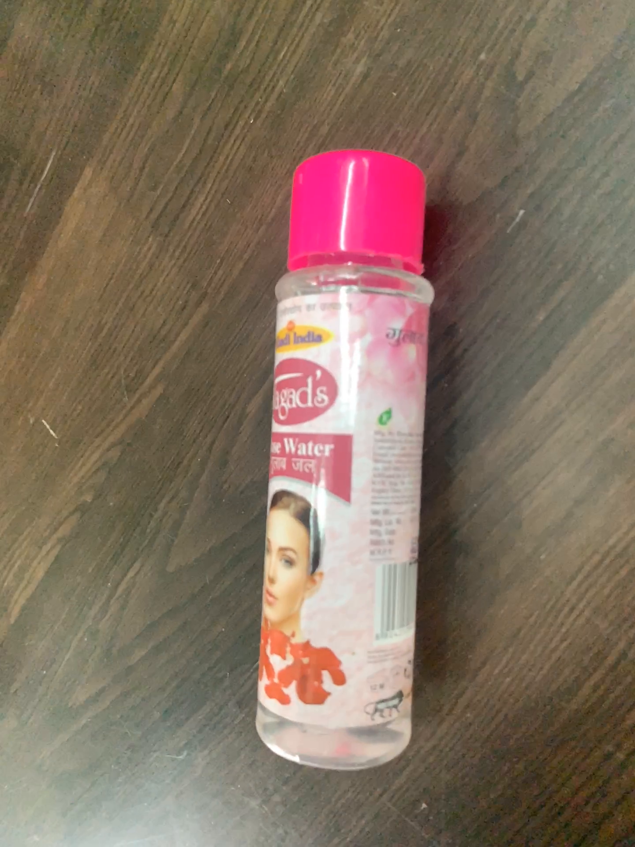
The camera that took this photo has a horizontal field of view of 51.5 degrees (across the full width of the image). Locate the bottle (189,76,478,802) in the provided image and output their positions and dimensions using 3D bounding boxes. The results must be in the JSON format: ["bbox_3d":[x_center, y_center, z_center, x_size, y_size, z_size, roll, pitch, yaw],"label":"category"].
[{"bbox_3d":[0.003,0.003,0.158,0.050,0.040,0.140,4,93,41],"label":"bottle"}]
